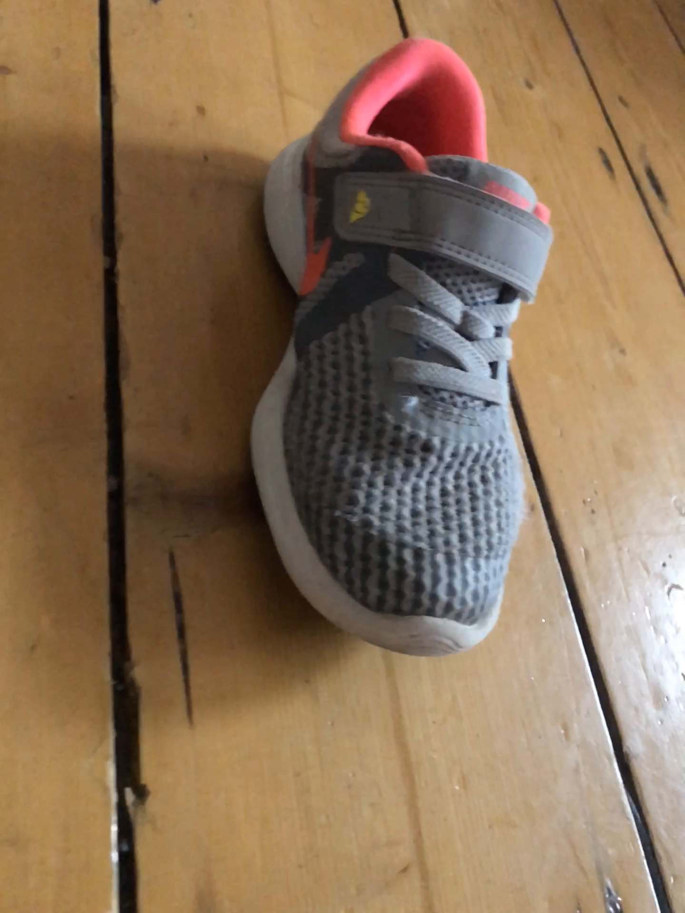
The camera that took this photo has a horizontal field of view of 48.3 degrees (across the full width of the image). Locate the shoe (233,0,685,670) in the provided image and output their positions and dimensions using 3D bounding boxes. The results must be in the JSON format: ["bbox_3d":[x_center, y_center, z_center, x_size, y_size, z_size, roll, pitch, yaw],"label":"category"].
[{"bbox_3d":[0.021,-0.038,0.222,0.080,0.070,0.181,9,58,-27],"label":"shoe"}]
